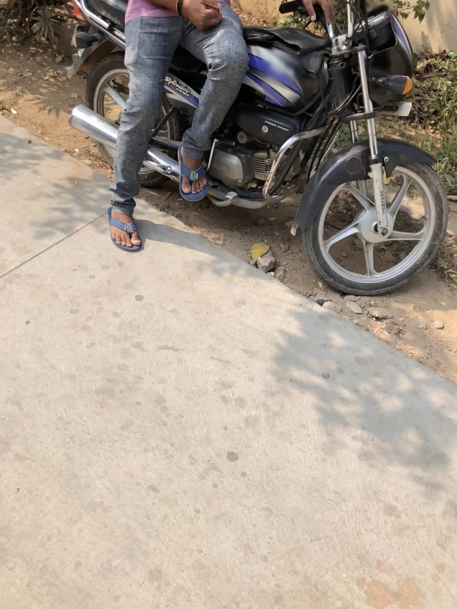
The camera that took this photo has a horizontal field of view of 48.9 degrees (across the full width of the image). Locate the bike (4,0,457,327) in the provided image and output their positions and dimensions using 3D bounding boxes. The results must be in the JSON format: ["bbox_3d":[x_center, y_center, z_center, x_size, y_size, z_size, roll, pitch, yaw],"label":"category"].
[{"bbox_3d":[0.150,-0.876,2.141,1.758,1.293,0.775,23,45,18],"label":"bike"}]
